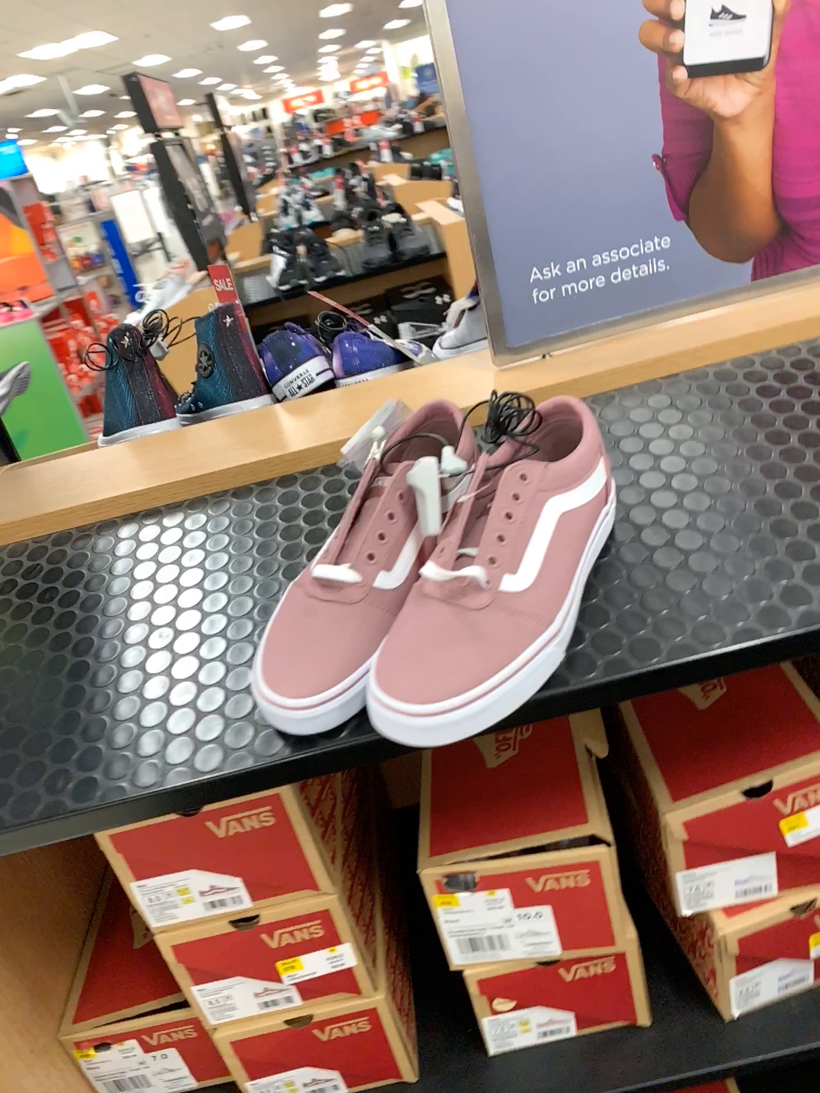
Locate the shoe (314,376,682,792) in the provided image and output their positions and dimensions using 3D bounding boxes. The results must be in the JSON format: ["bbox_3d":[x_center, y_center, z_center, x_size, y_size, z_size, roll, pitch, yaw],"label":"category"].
[{"bbox_3d":[0.071,0.005,0.521,0.100,0.099,0.261,7,43,36],"label":"shoe"}]

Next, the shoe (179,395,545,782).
[{"bbox_3d":[-0.014,0.010,0.560,0.100,0.099,0.261,5,41,34],"label":"shoe"}]
